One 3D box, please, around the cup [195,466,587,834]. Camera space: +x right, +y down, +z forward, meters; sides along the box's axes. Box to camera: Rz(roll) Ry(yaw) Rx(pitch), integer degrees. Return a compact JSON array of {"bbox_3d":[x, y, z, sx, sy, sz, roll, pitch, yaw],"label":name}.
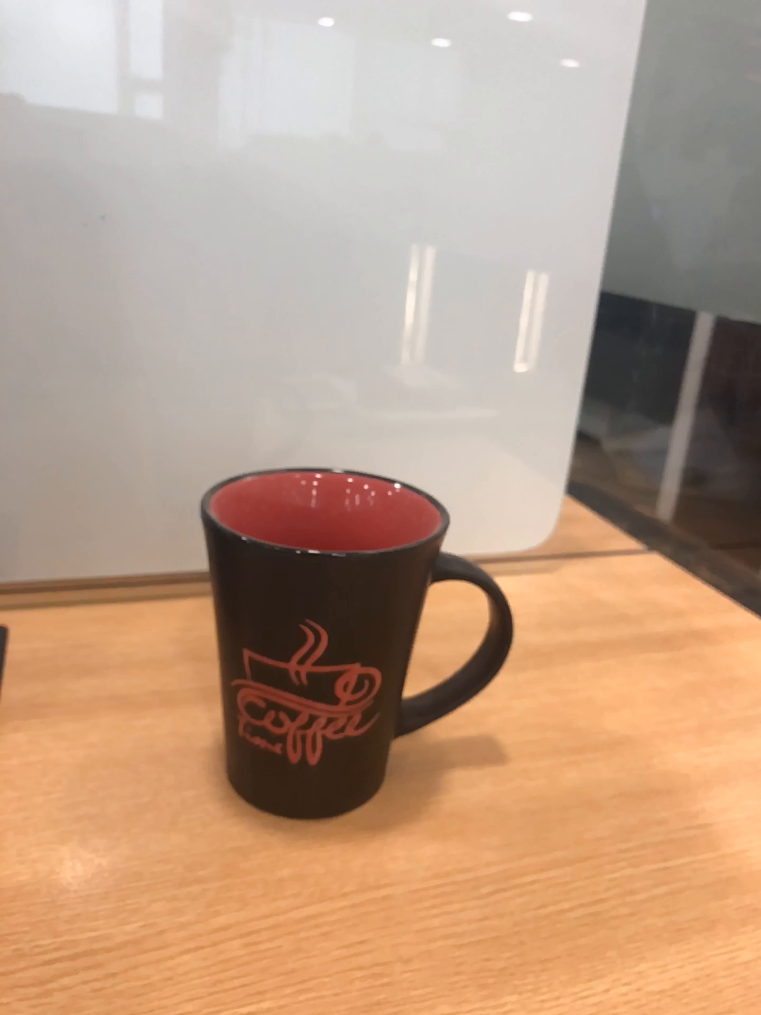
[{"bbox_3d":[-0.004,0.048,0.319,0.120,0.100,0.090,2,19,-9],"label":"cup"}]
